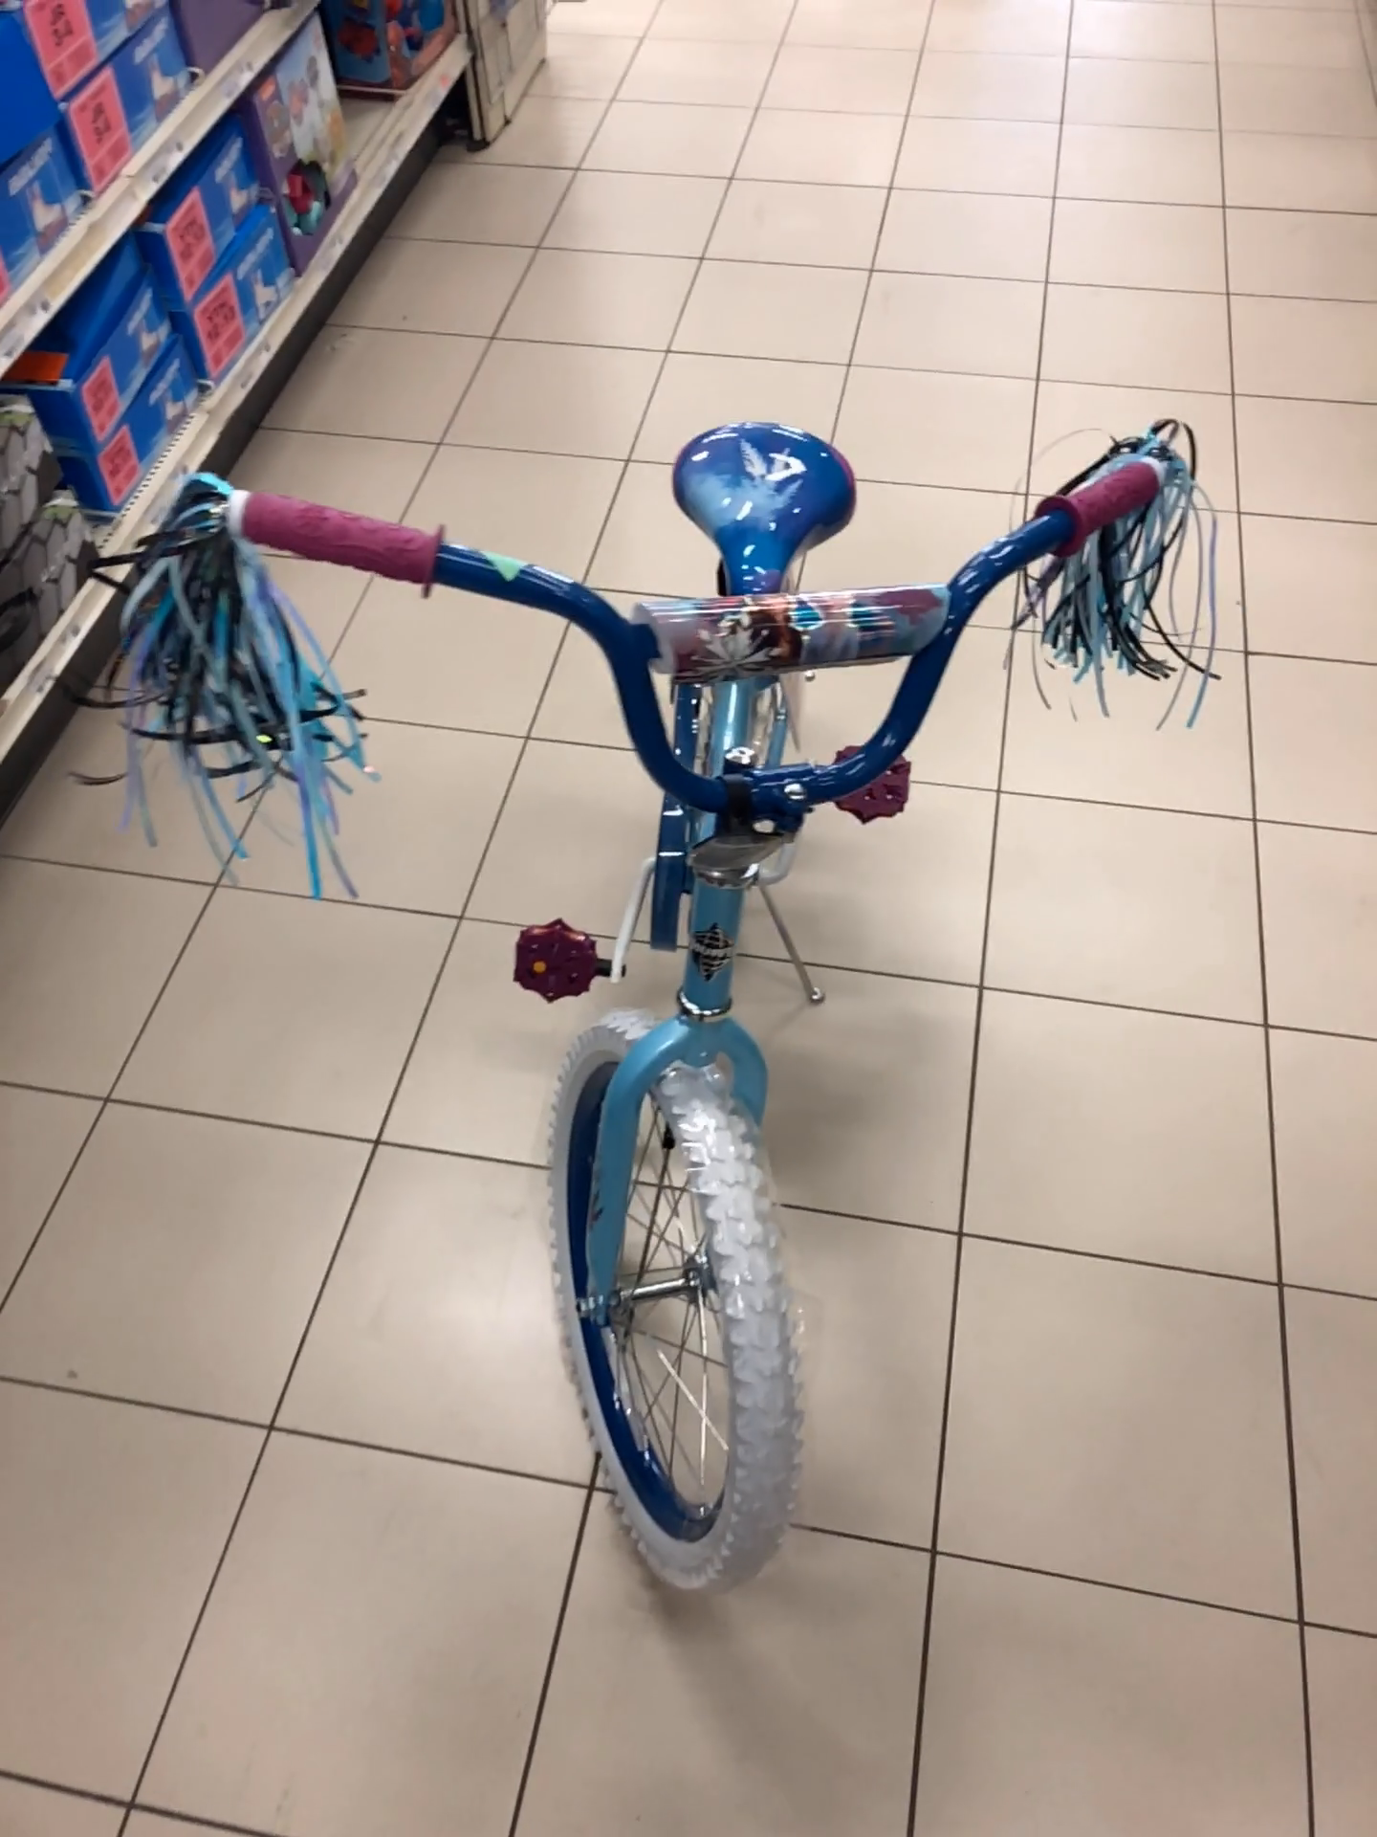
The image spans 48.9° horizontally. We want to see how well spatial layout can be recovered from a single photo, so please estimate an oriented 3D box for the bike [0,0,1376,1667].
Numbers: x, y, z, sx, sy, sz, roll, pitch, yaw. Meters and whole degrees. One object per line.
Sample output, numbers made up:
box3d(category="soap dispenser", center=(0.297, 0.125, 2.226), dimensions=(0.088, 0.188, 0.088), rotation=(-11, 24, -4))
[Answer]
box3d(category="bike", center=(0.080, -0.130, 1.254), dimensions=(0.640, 0.953, 1.181), rotation=(0, 48, 2))
